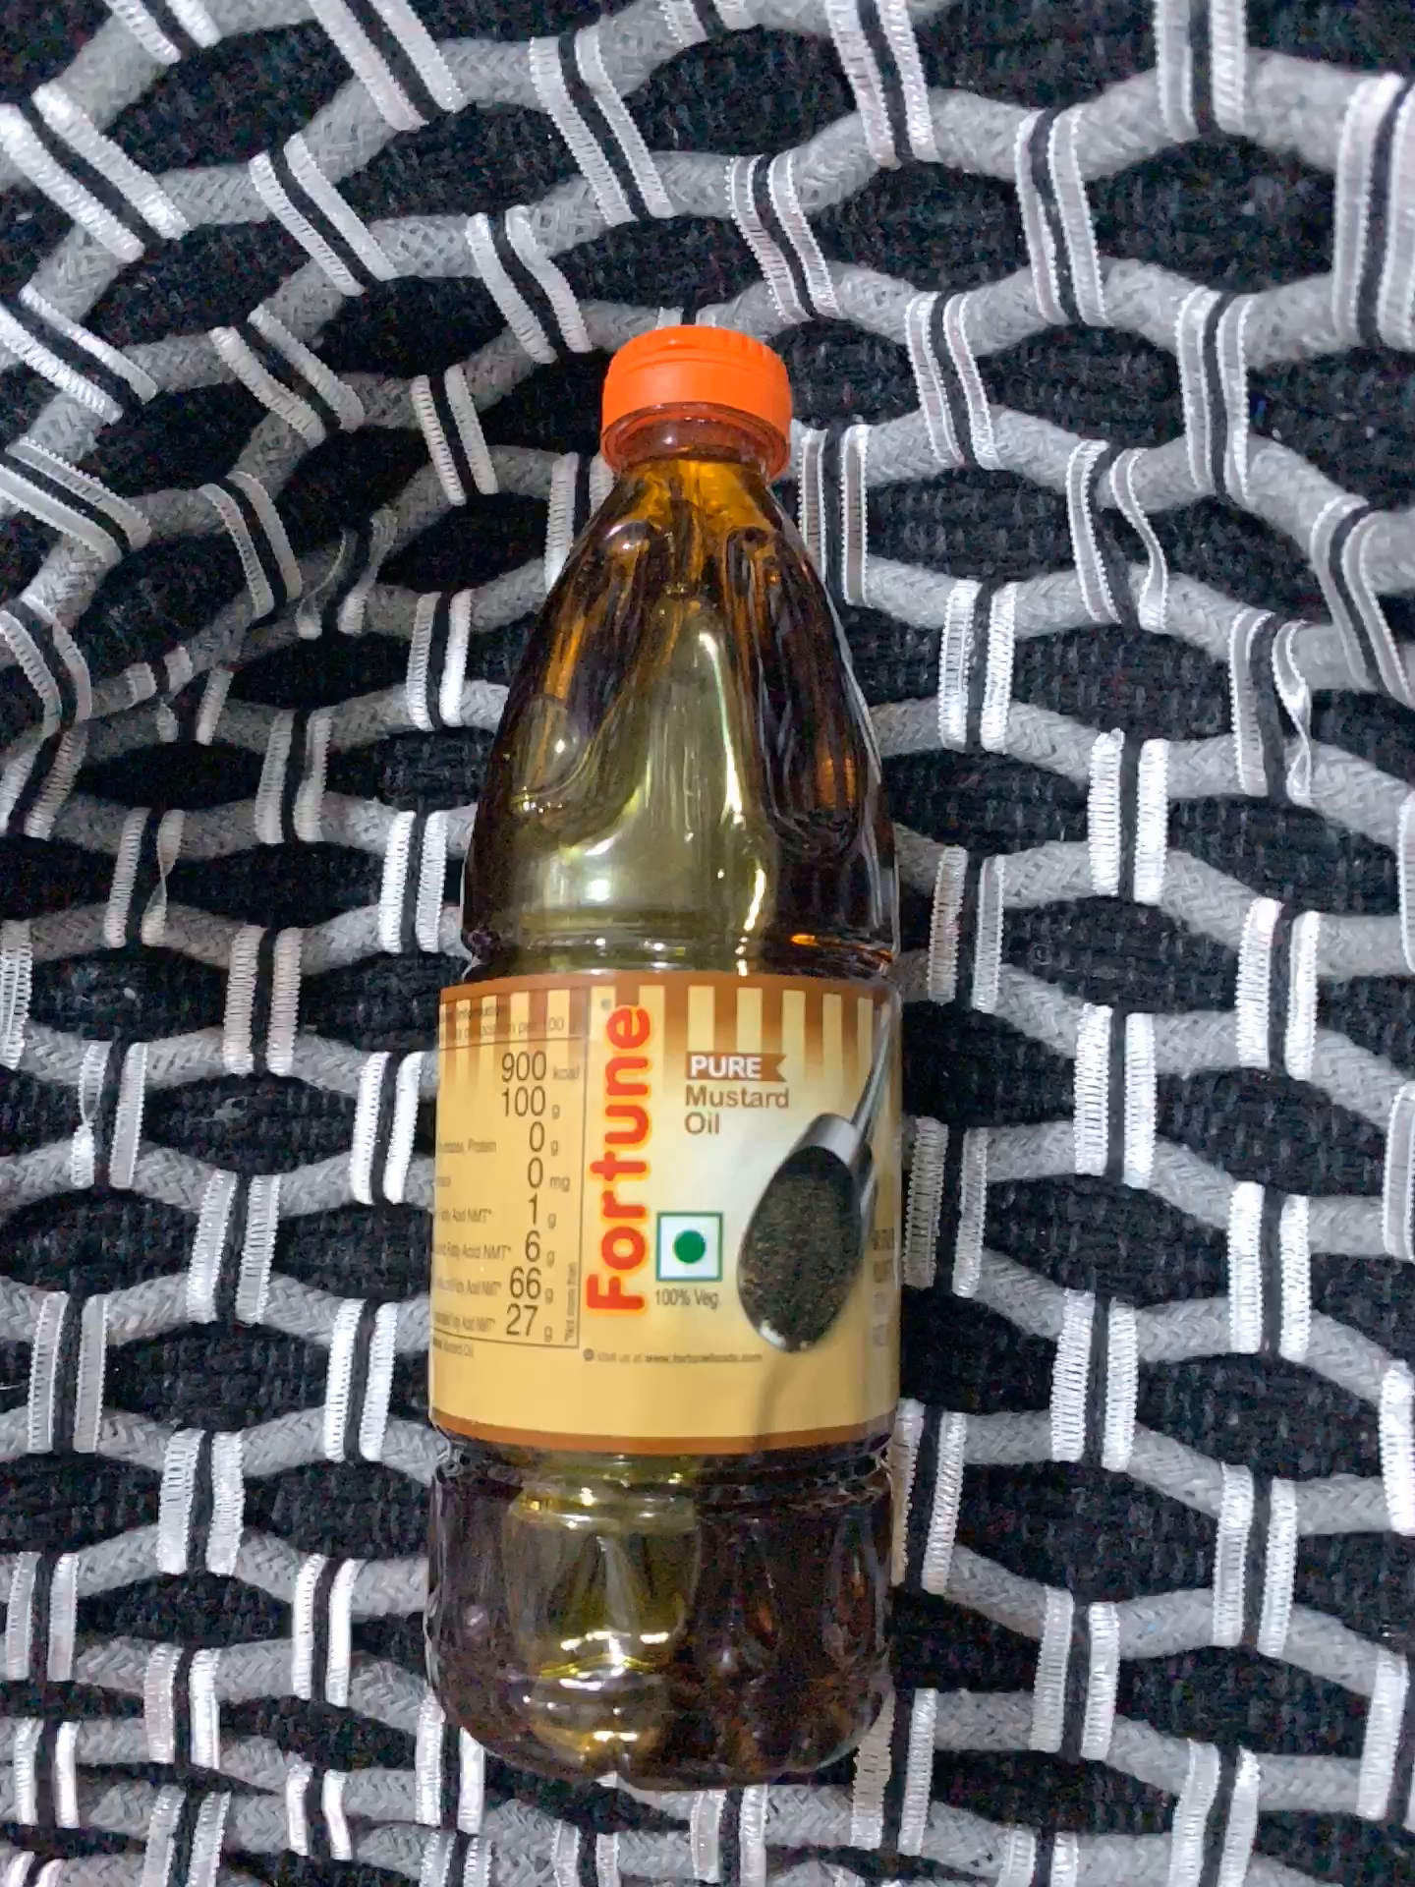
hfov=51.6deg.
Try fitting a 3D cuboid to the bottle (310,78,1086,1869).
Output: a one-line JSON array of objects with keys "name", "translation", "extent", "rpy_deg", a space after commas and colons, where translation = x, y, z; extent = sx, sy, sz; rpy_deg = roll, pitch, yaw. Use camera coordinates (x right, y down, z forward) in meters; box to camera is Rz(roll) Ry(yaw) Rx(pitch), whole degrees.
[{"name": "bottle", "translation": [-0.001, 0.002, 0.230], "extent": [0.080, 0.080, 0.220], "rpy_deg": [-17, 68, 56]}]
